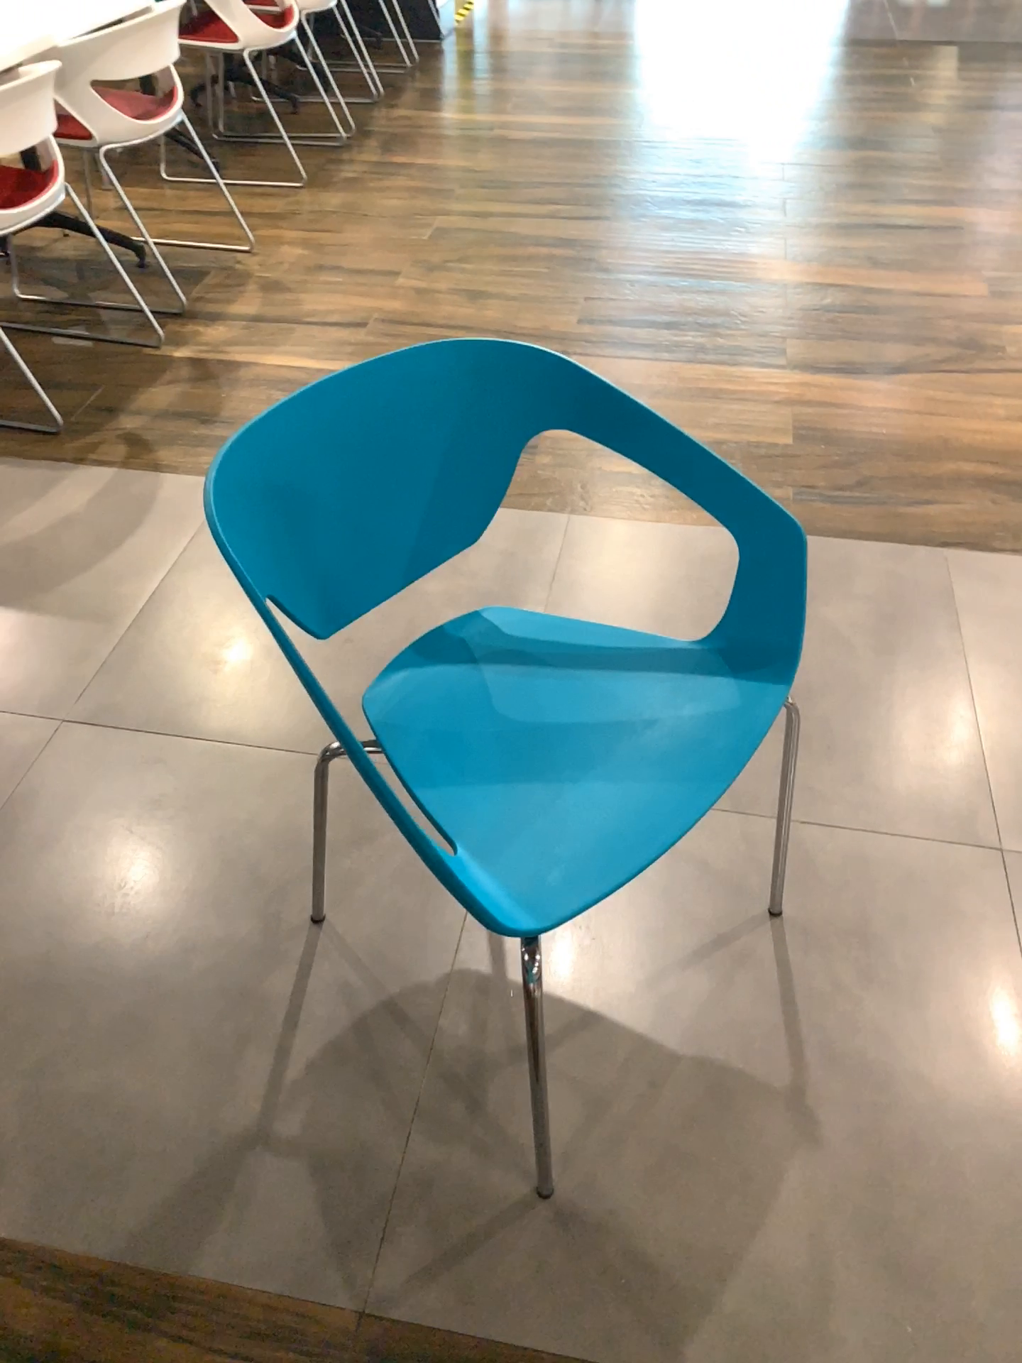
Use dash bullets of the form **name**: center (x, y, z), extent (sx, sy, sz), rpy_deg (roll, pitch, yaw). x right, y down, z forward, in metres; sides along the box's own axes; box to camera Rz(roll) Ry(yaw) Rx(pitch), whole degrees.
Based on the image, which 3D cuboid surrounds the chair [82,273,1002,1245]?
- **chair**: center (0.043, 0.058, 1.201), extent (0.592, 0.724, 0.613), rpy_deg (31, 52, 30)
